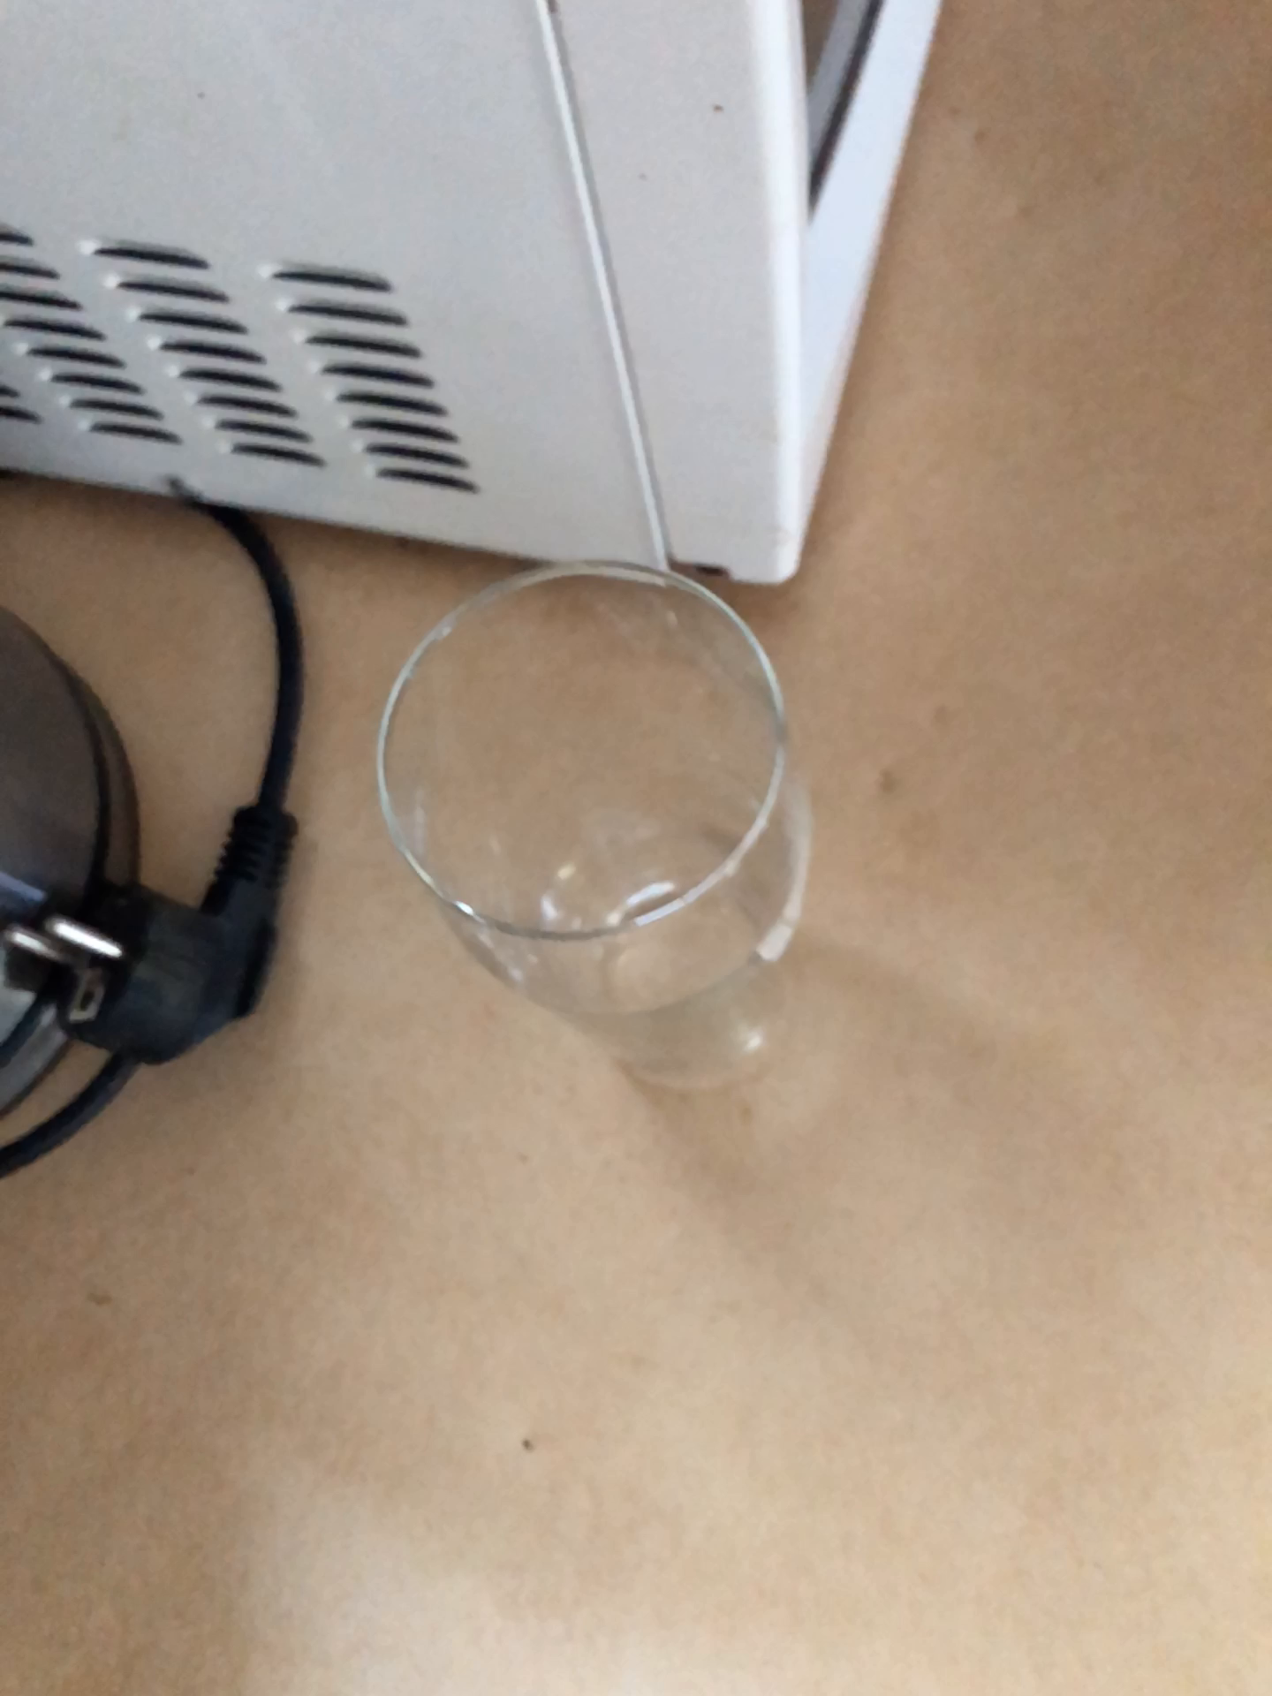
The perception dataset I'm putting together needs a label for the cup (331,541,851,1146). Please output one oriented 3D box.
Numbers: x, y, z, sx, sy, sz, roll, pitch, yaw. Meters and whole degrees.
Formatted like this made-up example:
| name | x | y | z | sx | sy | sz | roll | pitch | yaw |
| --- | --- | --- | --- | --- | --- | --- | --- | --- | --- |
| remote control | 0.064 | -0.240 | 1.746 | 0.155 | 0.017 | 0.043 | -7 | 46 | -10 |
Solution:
| name | x | y | z | sx | sy | sz | roll | pitch | yaw |
| --- | --- | --- | --- | --- | --- | --- | --- | --- | --- |
| cup | 0.004 | 0.009 | 0.266 | 0.070 | 0.130 | 0.070 | -3 | 70 | 8 |
